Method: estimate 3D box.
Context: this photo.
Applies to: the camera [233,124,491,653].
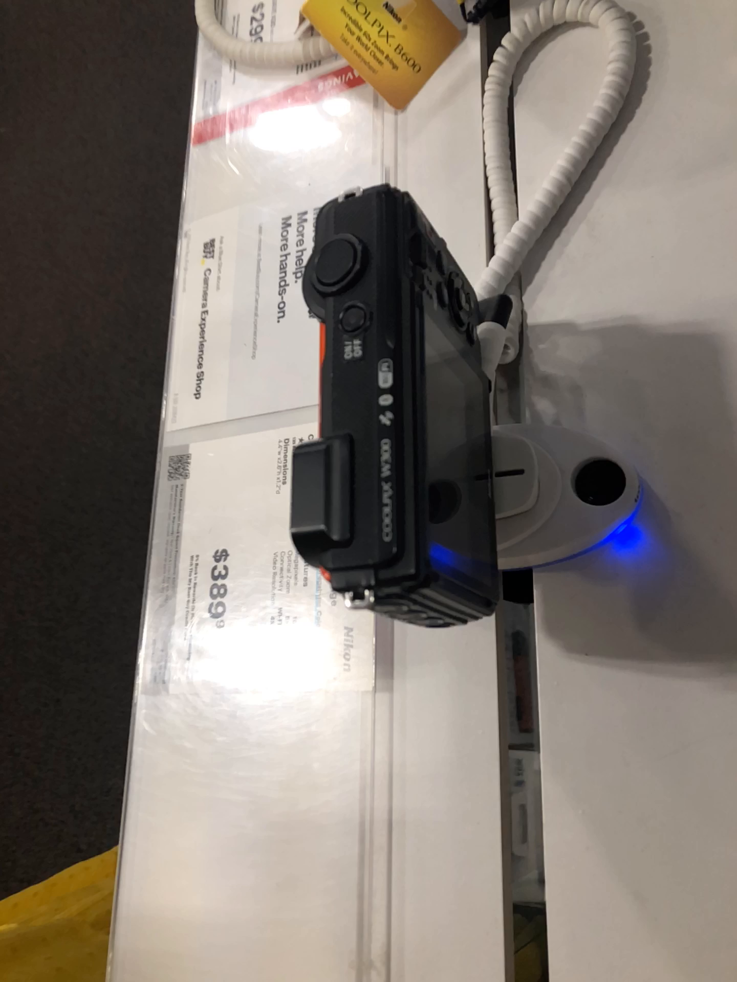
[{"bbox_3d":[0.001,-0.022,0.216,0.040,0.060,0.120,-9,70,25],"label":"camera"}]
